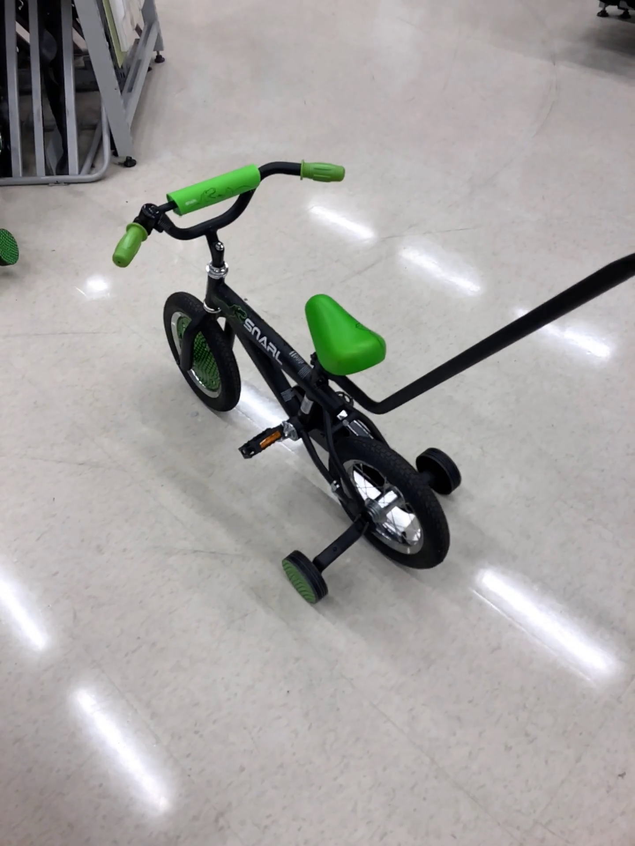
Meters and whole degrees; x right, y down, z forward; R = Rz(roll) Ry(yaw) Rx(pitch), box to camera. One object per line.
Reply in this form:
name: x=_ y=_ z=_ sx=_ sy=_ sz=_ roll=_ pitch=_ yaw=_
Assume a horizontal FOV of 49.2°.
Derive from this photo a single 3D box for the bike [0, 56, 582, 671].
bike: x=-0.077 y=-0.139 z=1.295 sx=0.491 sy=0.600 sz=0.849 roll=-36 pitch=59 yaw=-24
